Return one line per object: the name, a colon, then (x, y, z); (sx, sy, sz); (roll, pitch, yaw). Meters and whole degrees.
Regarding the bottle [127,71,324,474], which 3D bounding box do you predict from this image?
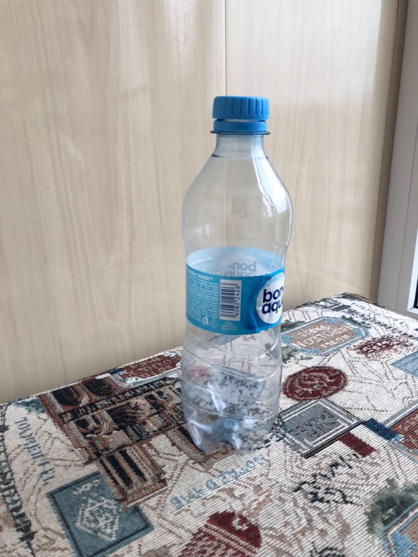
bottle: (0.013, -0.006, 0.278); (0.070, 0.209, 0.080); (14, 24, 38)
